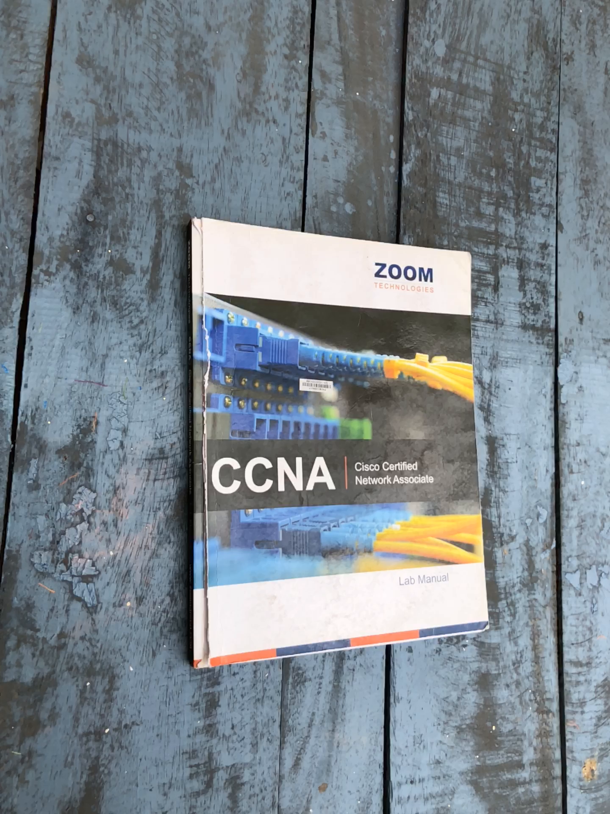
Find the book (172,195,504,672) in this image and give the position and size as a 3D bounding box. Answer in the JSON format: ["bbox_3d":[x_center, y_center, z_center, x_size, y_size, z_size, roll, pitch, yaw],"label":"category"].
[{"bbox_3d":[0.022,0.012,0.420,0.200,0.030,0.260,1,81,-23],"label":"book"}]
